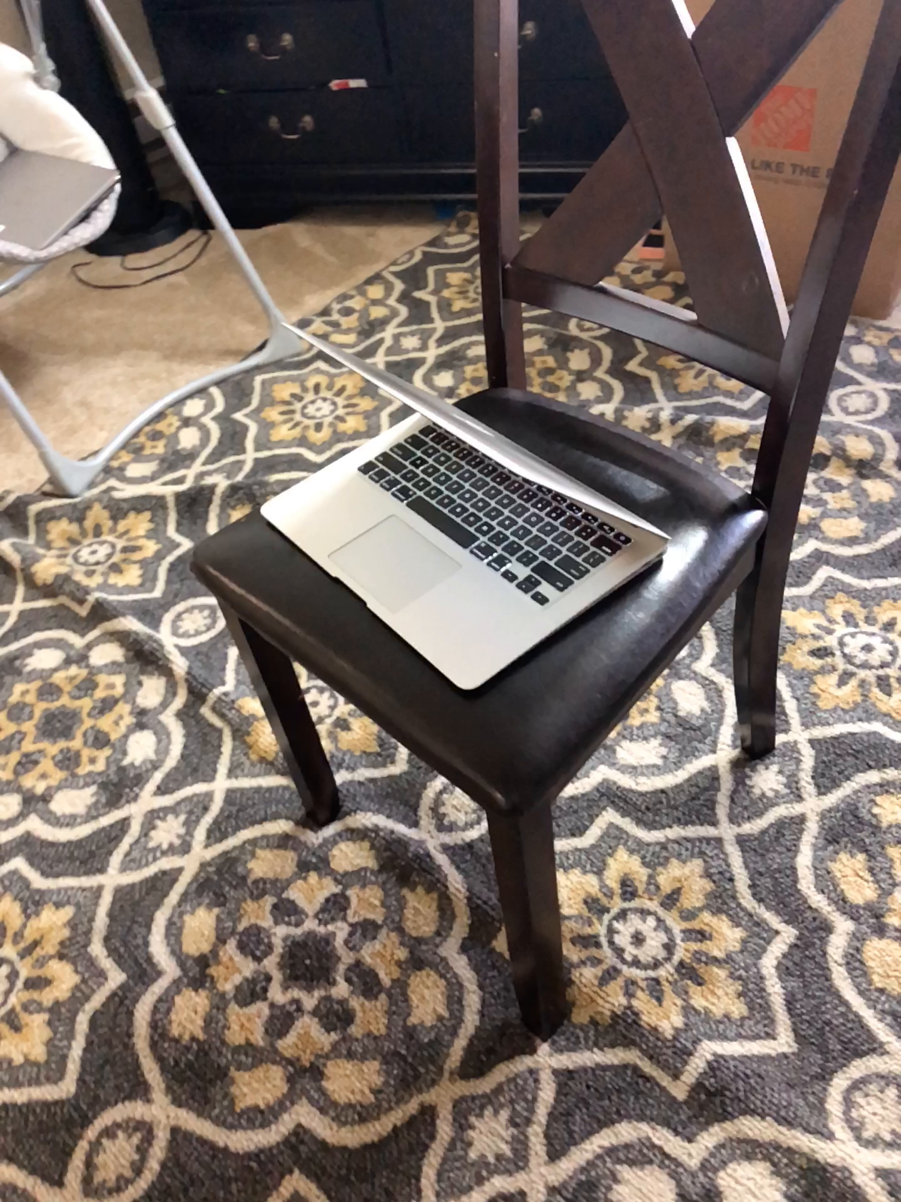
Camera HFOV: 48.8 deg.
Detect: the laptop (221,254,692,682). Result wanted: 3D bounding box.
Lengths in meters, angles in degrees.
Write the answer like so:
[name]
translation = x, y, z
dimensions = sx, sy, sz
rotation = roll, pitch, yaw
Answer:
[laptop]
translation = 0.001, -0.125, 0.805
dimensions = 0.215, 0.154, 0.304
rotation = -33, 49, -22
